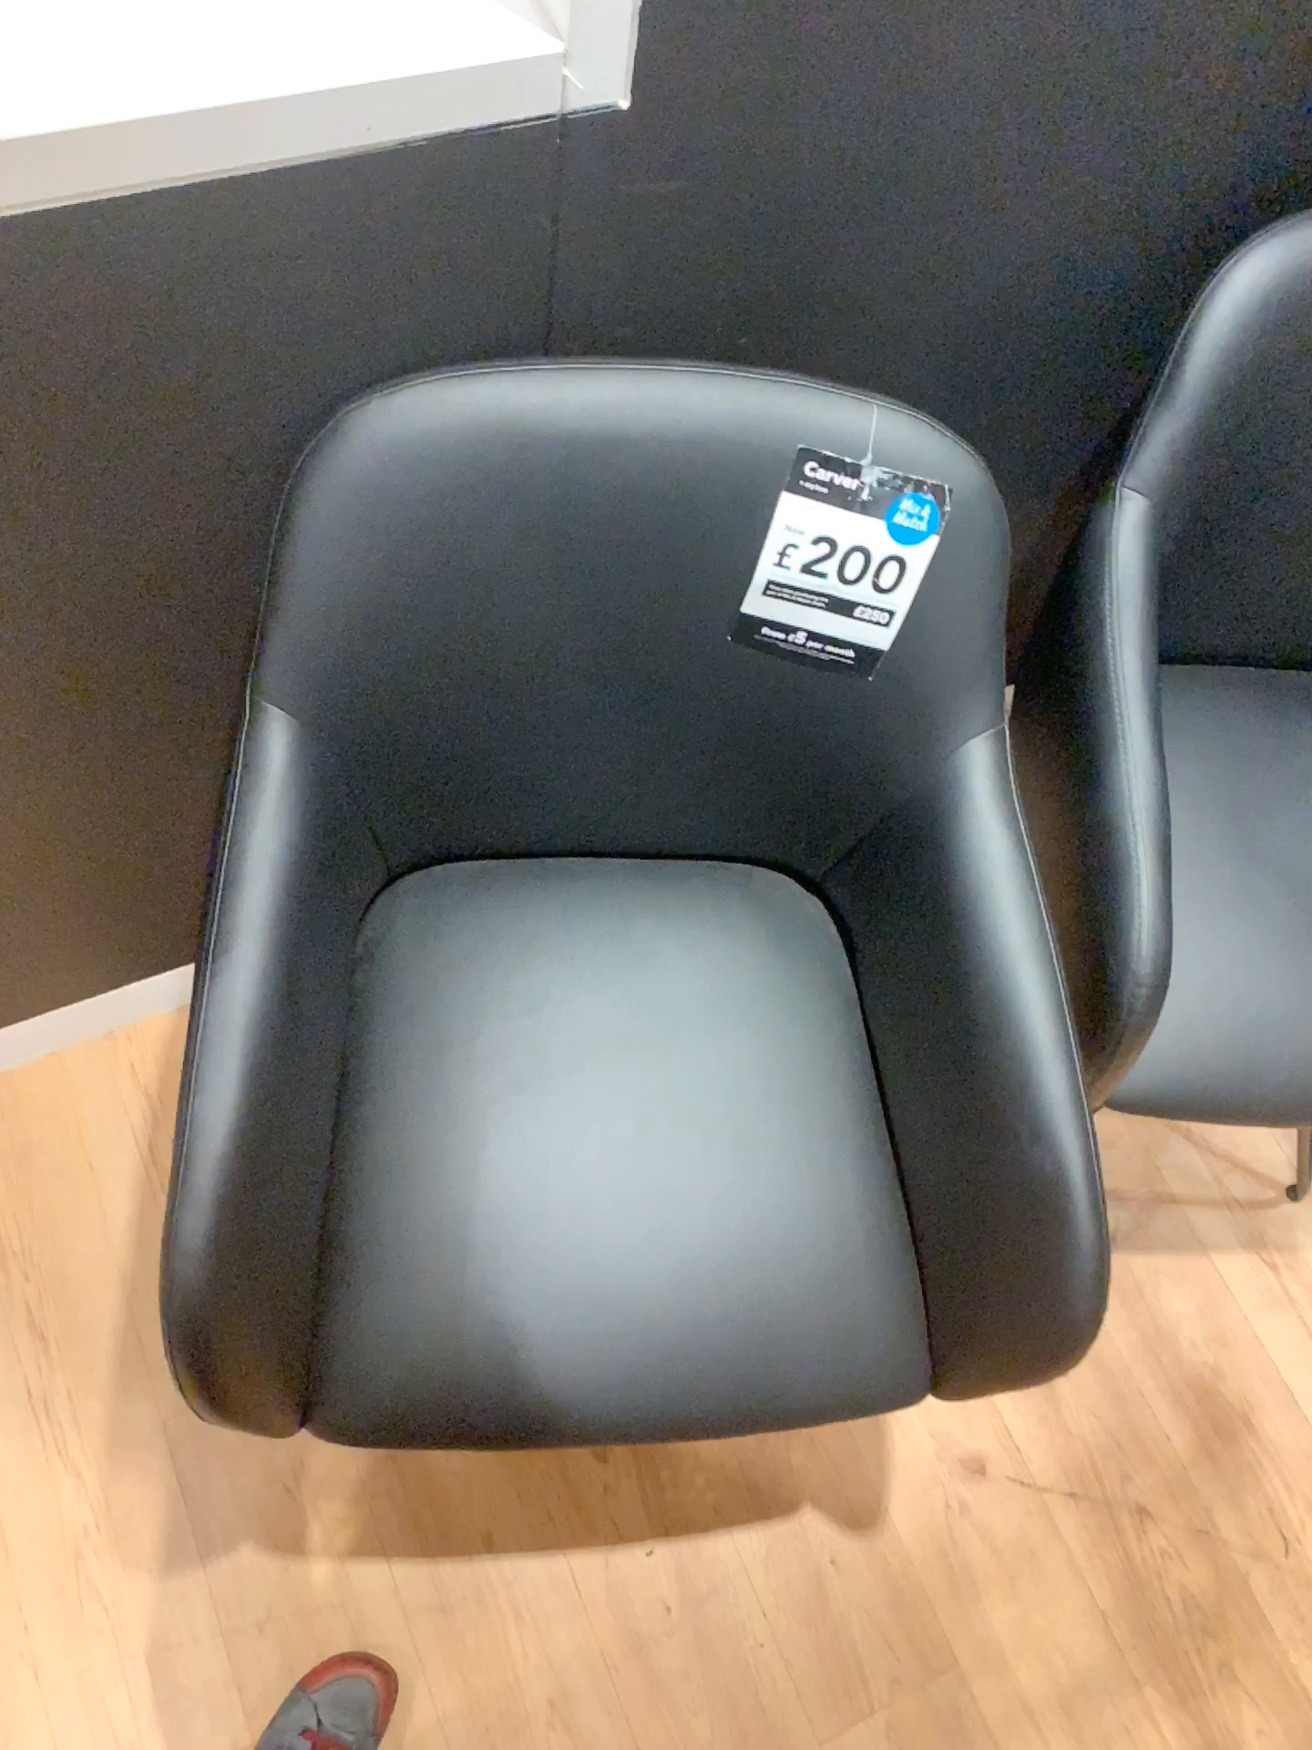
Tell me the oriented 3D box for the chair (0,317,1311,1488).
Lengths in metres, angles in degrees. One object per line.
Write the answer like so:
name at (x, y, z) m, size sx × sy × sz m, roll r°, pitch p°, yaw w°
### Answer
chair at (-0.021, 0.122, 1.009) m, size 0.603 × 0.780 × 0.594 m, roll 1°, pitch 65°, yaw -7°

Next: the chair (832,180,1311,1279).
chair at (0.575, -0.033, 1.185) m, size 0.563 × 0.839 × 0.594 m, roll -3°, pitch 66°, yaw -9°
